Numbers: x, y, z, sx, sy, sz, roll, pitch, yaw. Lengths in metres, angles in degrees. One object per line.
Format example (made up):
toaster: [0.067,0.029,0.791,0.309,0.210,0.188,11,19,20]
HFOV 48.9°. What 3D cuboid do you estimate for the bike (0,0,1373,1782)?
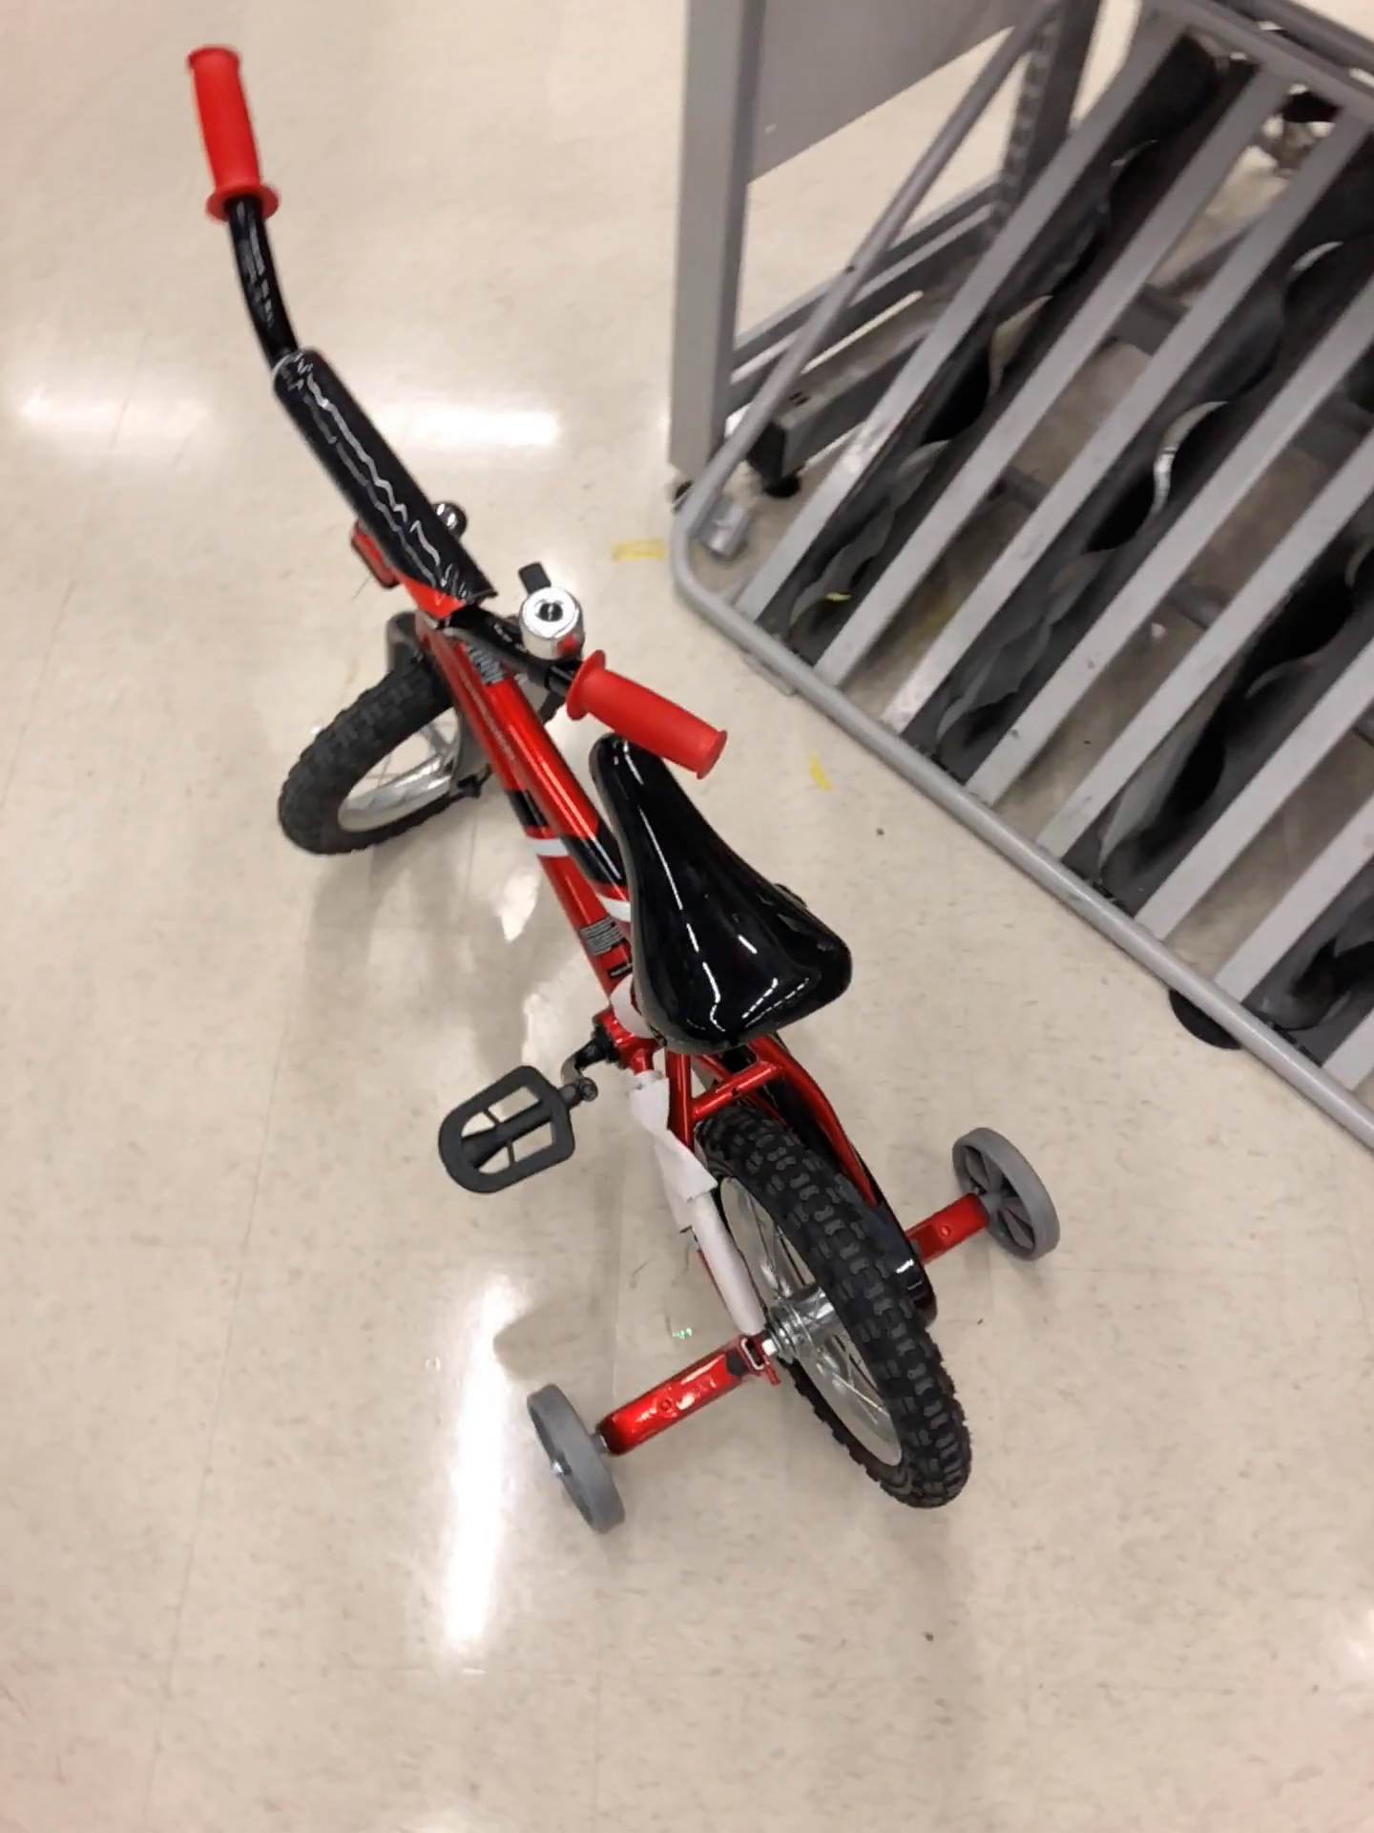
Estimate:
bike: [-0.069,0.024,0.916,0.532,0.679,0.700,-37,67,-22]
